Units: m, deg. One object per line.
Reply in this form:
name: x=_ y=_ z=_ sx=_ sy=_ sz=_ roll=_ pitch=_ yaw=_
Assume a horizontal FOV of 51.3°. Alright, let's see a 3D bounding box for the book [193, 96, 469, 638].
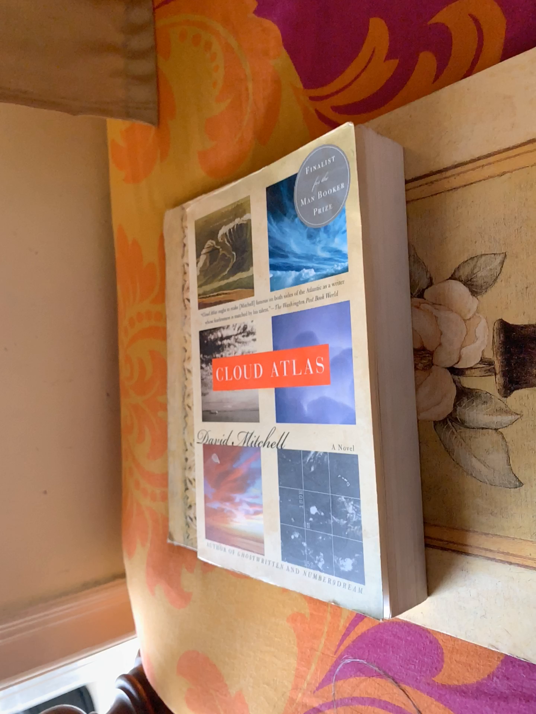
book: x=0.018 y=0.005 z=0.259 sx=0.131 sy=0.040 sz=0.190 roll=-7 pitch=83 yaw=51
